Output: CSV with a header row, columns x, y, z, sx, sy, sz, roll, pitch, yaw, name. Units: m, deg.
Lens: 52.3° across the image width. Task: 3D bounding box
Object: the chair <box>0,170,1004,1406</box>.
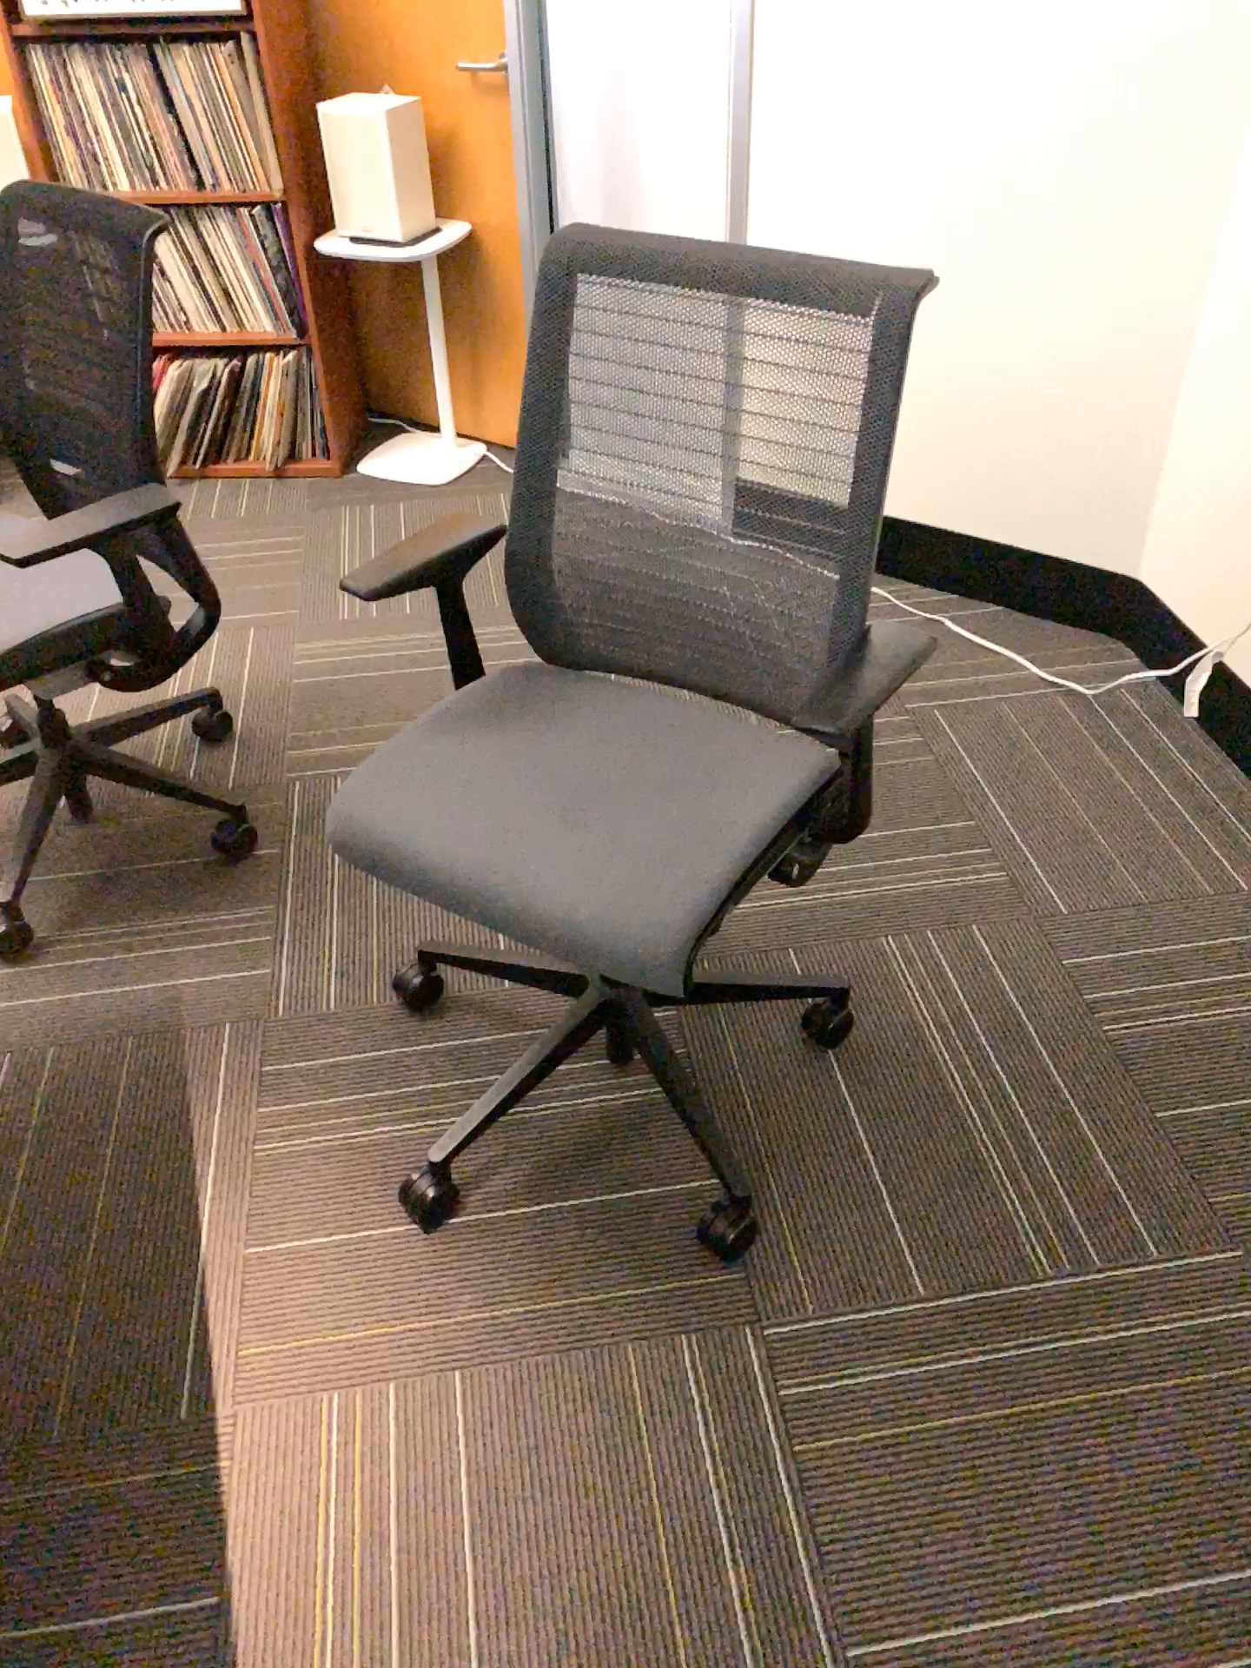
x,y,z,sx,sy,sz,roll,pitch,yaw,name
-0.120,-0.093,1.585,0.792,1.113,0.803,18,43,22,chair
